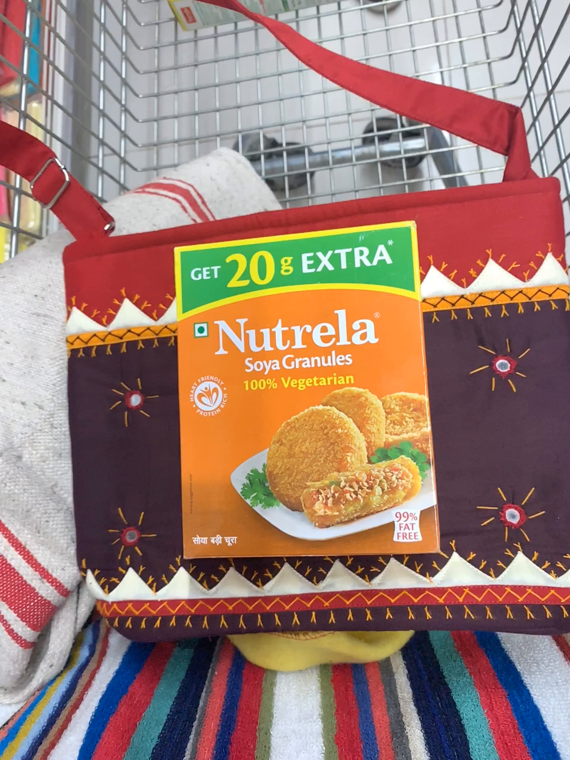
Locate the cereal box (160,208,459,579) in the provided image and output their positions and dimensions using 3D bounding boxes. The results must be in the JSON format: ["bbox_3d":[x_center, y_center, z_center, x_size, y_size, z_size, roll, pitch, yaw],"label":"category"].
[{"bbox_3d":[0.010,0.010,0.278,0.120,0.060,0.150,-4,81,11],"label":"cereal box"}]
